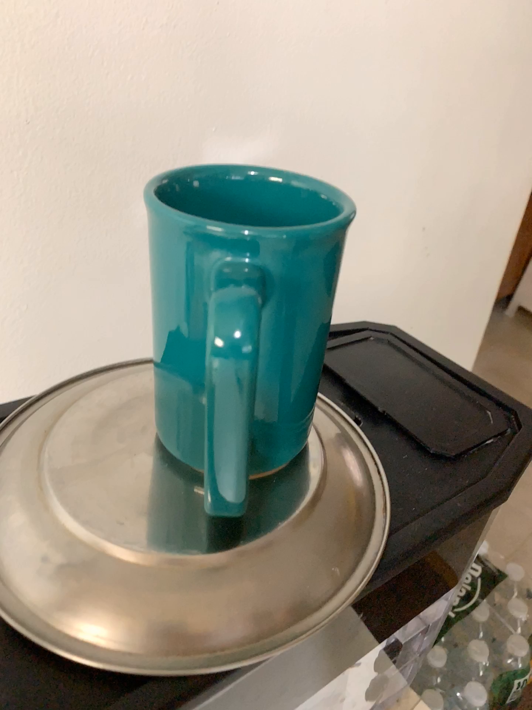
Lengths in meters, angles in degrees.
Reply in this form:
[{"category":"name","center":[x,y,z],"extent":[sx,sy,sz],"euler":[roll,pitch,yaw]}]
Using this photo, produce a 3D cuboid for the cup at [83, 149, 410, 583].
[{"category":"cup","center":[-0.011,-0.003,0.217],"extent":[0.080,0.119,0.121],"euler":[4,31,-4]}]
